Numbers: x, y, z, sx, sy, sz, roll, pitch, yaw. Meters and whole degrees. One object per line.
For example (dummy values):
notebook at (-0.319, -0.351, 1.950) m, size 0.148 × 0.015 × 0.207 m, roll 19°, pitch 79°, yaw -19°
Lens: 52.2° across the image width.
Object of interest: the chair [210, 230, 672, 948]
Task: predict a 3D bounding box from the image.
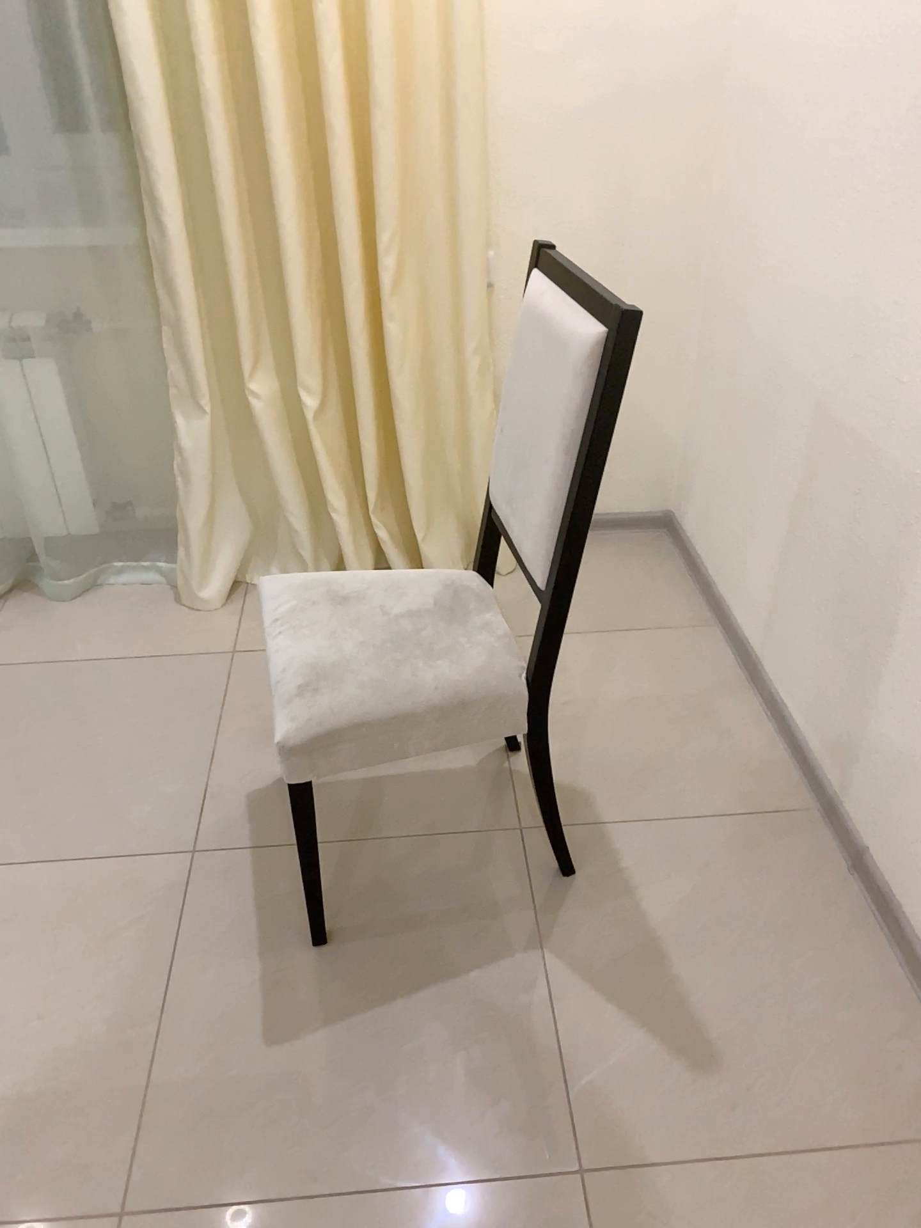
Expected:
chair at (-0.069, -0.037, 1.476) m, size 0.510 × 0.964 × 0.483 m, roll -6°, pitch 33°, yaw -12°
